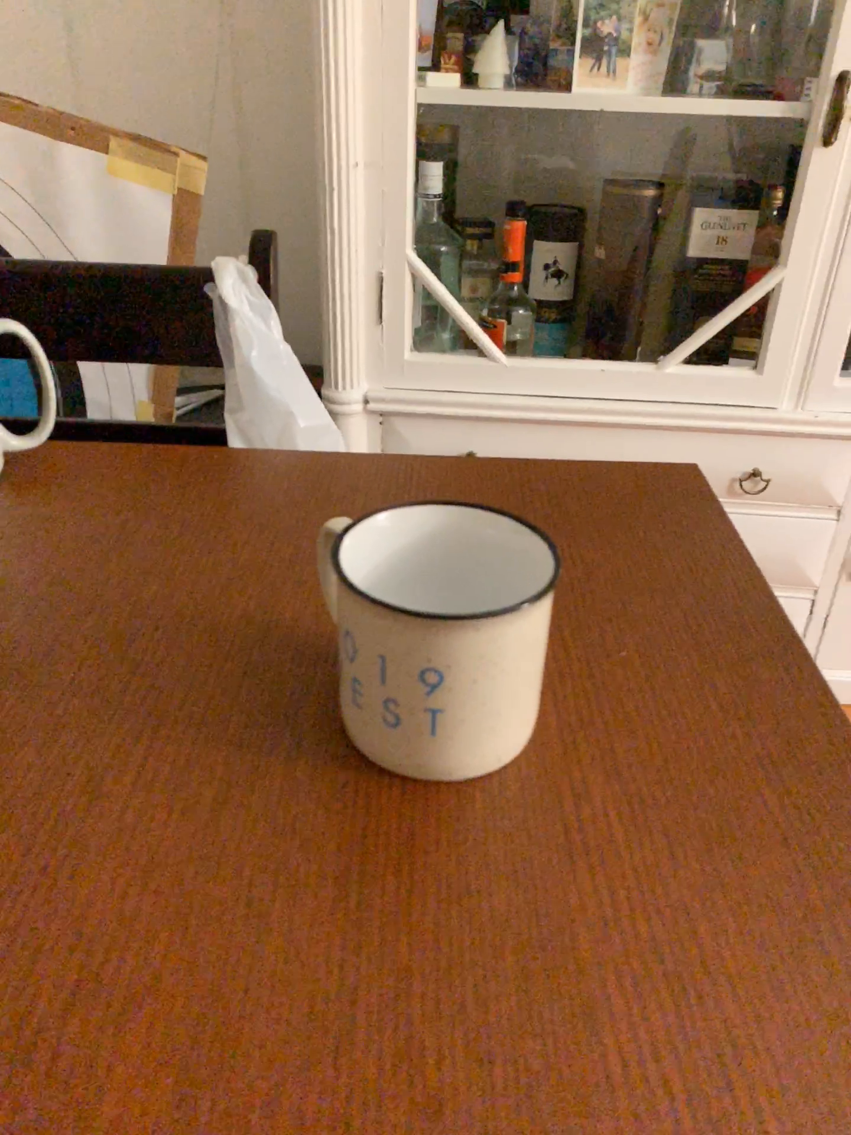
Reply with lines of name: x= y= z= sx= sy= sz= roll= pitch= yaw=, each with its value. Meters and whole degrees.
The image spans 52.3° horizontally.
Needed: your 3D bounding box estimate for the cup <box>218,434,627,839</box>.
cup: x=-0.007 y=0.019 z=0.397 sx=0.100 sy=0.099 sz=0.151 roll=-25 pitch=39 yaw=-37
